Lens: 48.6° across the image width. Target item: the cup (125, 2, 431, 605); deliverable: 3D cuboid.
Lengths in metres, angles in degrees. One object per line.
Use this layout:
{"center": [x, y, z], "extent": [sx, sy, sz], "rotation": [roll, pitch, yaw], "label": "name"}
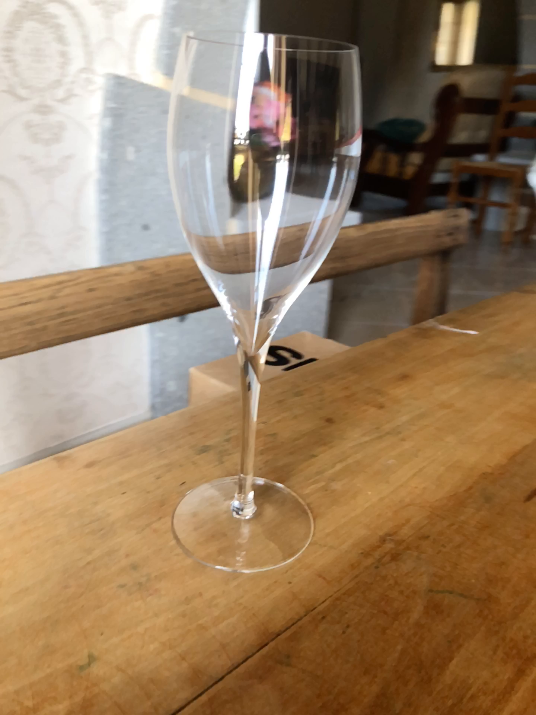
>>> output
{"center": [0.003, -0.019, 0.245], "extent": [0.080, 0.209, 0.081], "rotation": [3, 23, -1], "label": "cup"}
